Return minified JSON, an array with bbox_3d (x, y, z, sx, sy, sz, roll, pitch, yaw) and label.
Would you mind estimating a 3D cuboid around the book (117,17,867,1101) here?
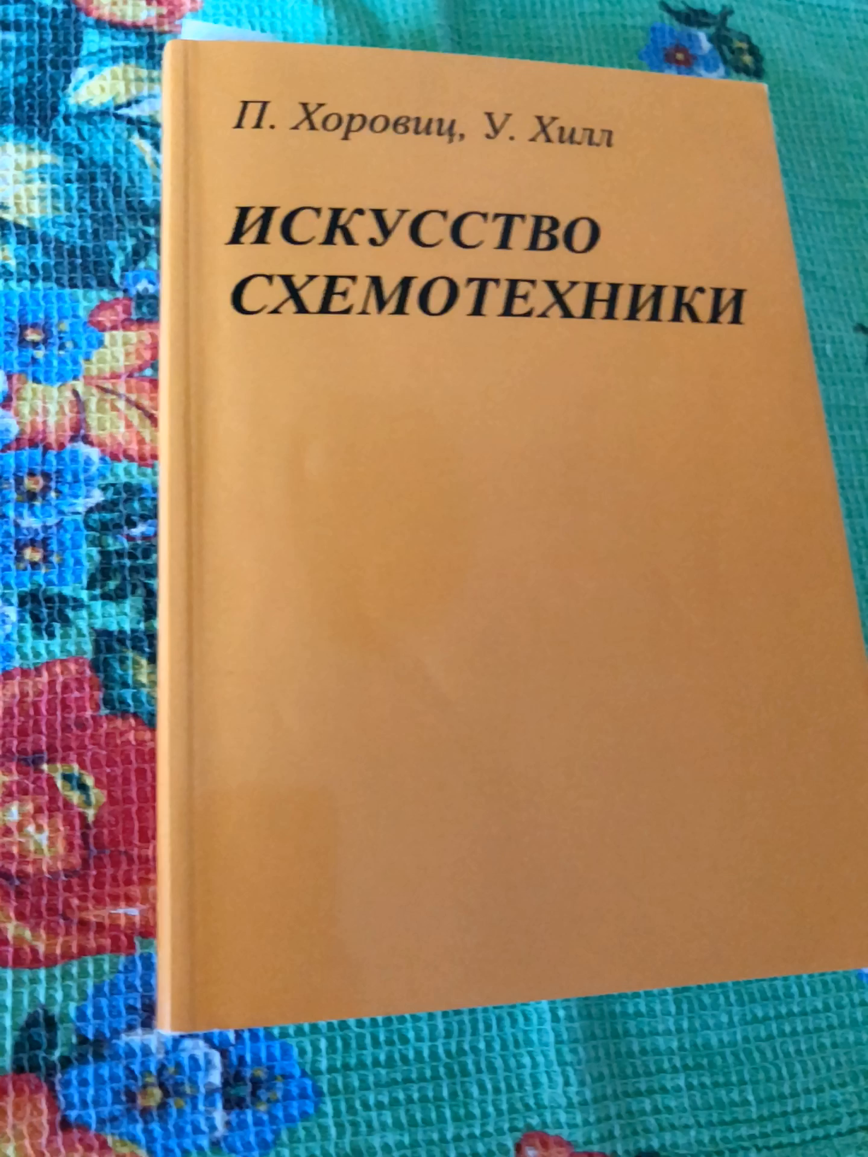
[{"bbox_3d":[0.020,-0.021,0.256,0.180,0.050,0.260,0,71,-10],"label":"book"}]
